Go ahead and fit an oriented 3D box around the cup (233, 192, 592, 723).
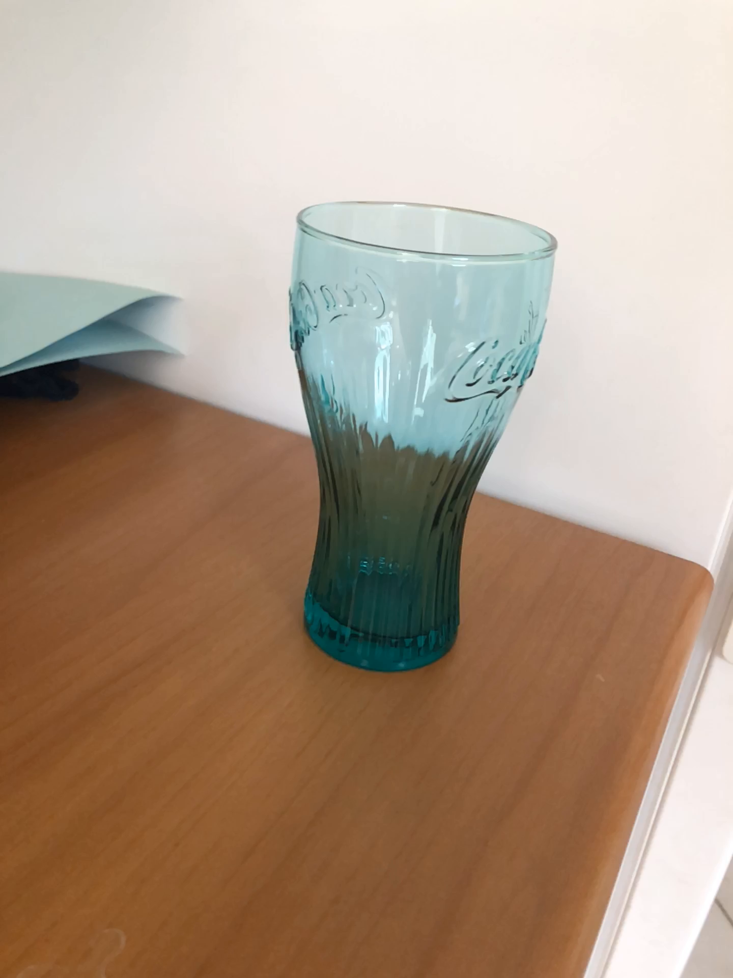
[{"bbox_3d":[0.013,-0.015,0.267,0.080,0.139,0.081,5,27,-2],"label":"cup"}]
